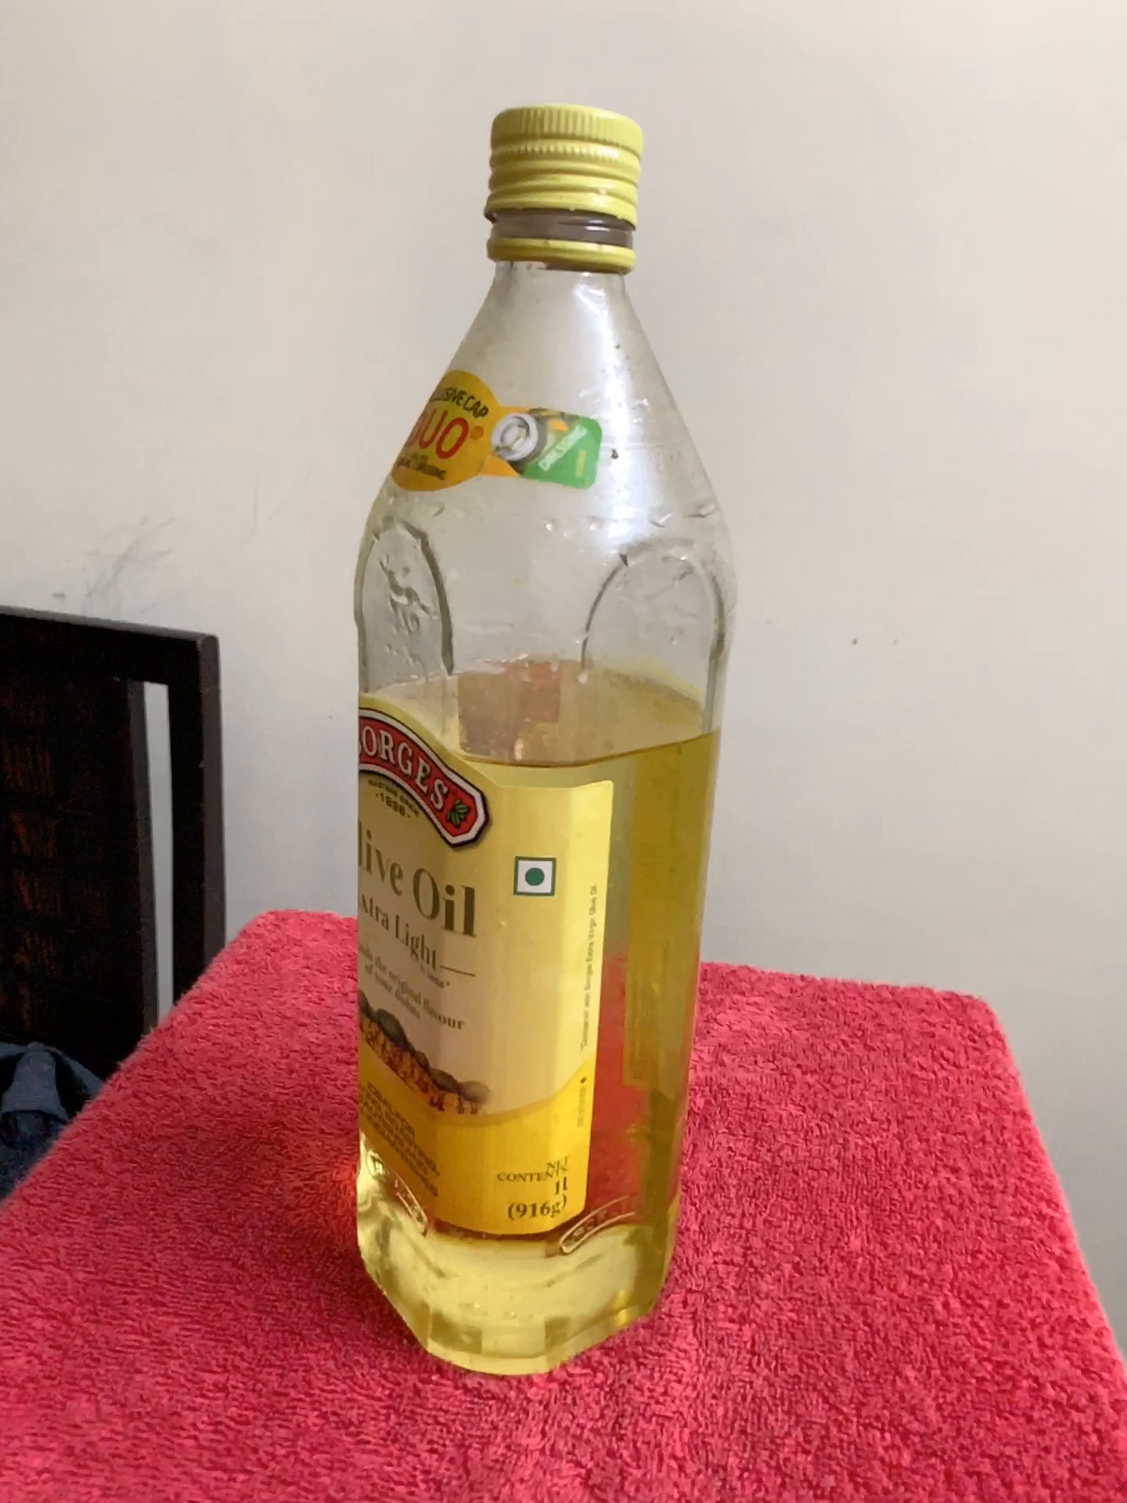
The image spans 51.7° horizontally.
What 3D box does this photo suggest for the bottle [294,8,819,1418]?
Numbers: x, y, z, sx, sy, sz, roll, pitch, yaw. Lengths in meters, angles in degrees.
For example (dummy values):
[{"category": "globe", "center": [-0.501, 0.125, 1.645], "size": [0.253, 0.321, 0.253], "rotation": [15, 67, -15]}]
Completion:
[{"category": "bottle", "center": [-0.012, 0.001, 0.264], "size": [0.070, 0.268, 0.080], "rotation": [-8, 20, -32]}]
